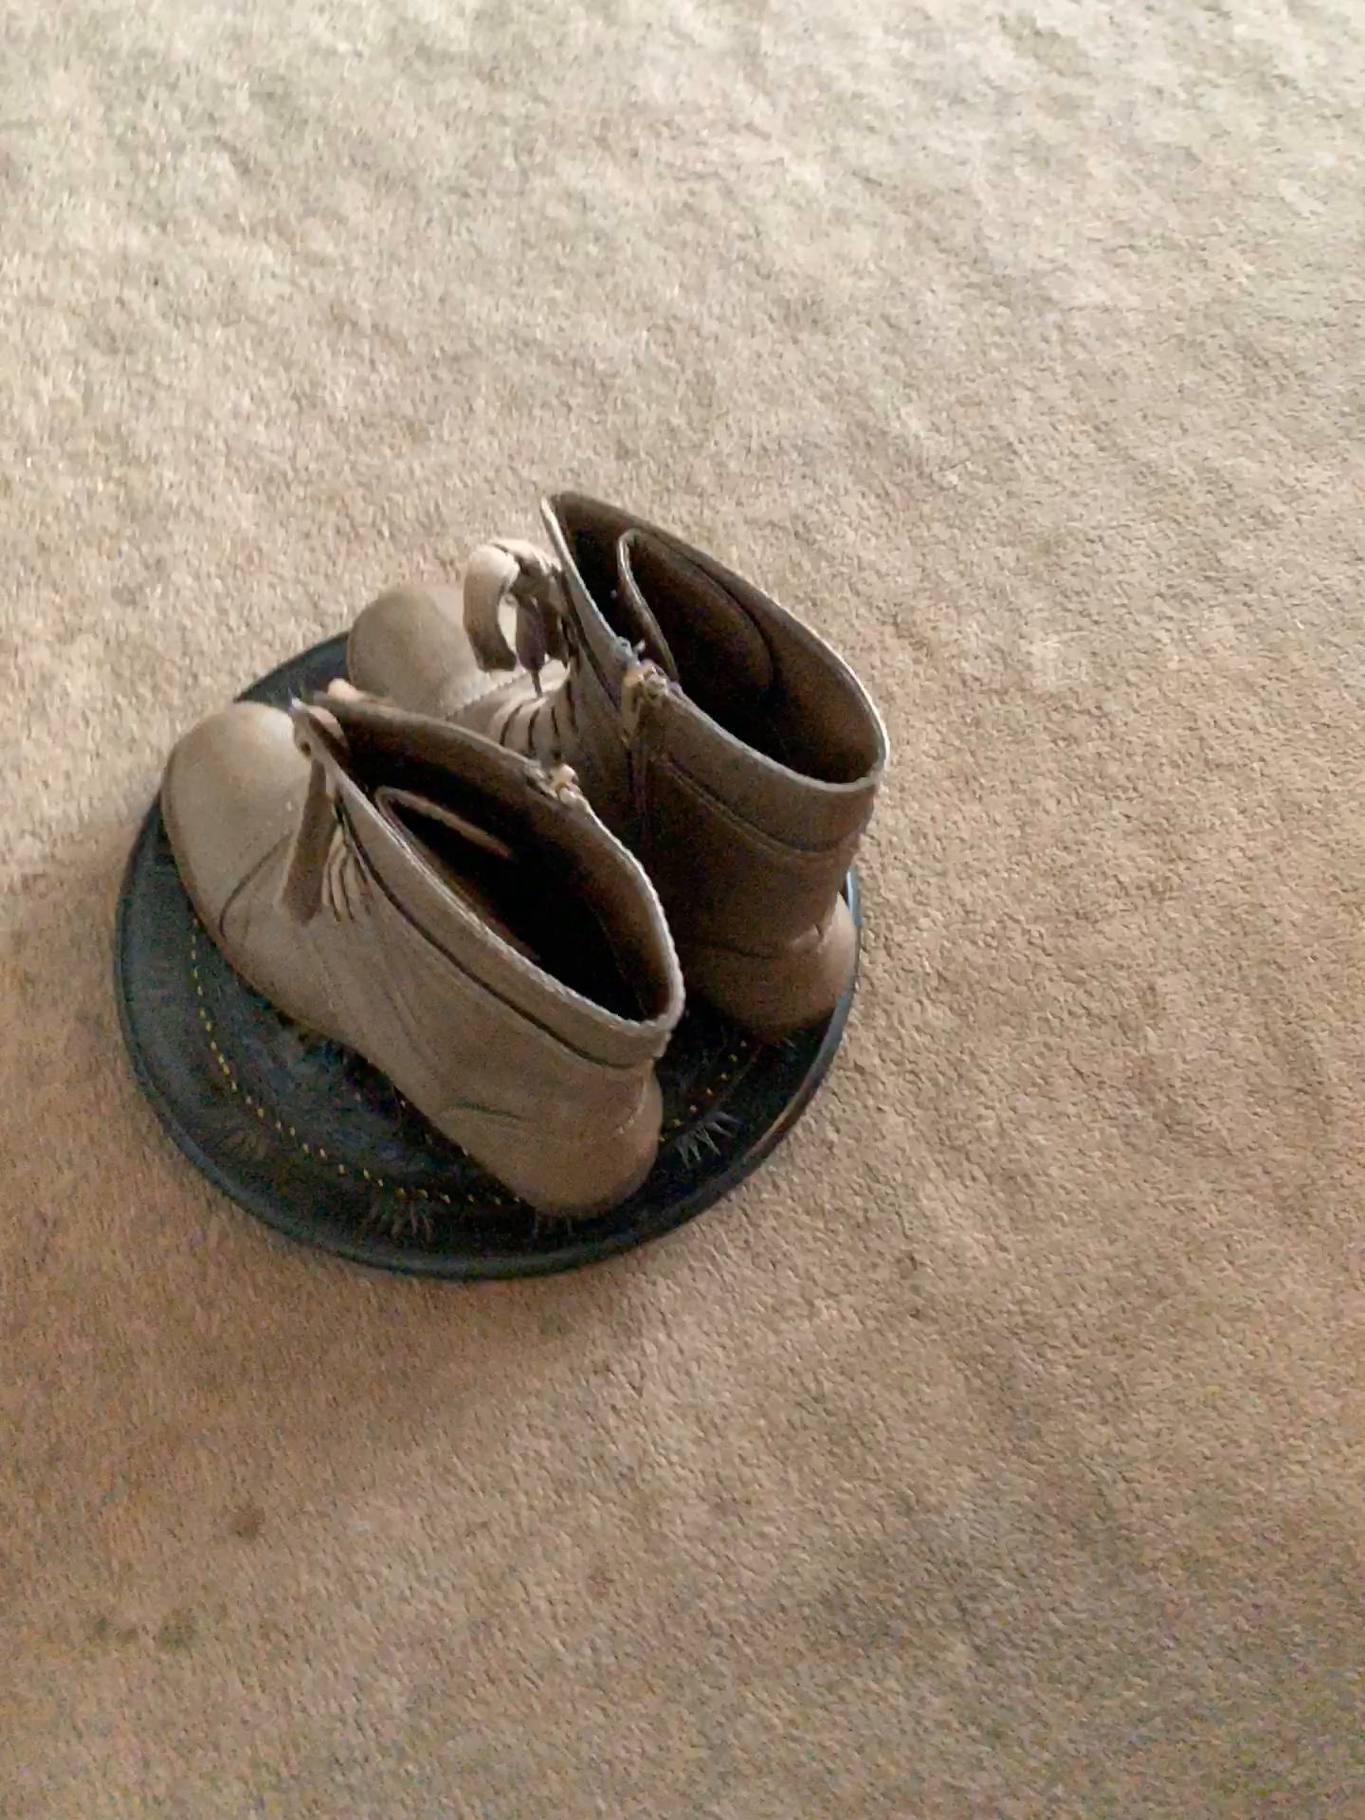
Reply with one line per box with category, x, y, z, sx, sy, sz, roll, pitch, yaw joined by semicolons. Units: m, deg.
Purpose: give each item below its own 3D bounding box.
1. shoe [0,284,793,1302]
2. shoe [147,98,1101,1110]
shoe;-0.105;-0.019;0.442;0.100;0.199;0.260;-41;76;-17
shoe;-0.027;-0.086;0.471;0.100;0.199;0.270;-41;76;-17
